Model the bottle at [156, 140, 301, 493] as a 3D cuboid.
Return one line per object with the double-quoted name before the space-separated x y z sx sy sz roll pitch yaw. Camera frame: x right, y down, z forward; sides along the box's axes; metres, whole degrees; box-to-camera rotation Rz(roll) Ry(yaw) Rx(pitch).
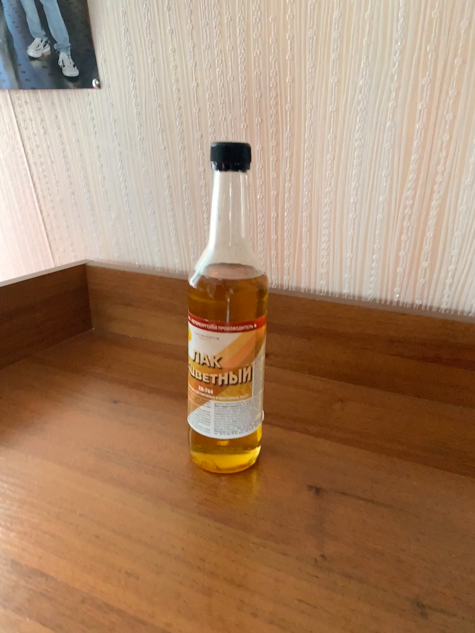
"bottle" -0.011 -0.001 0.392 0.080 0.258 0.070 12 20 26
